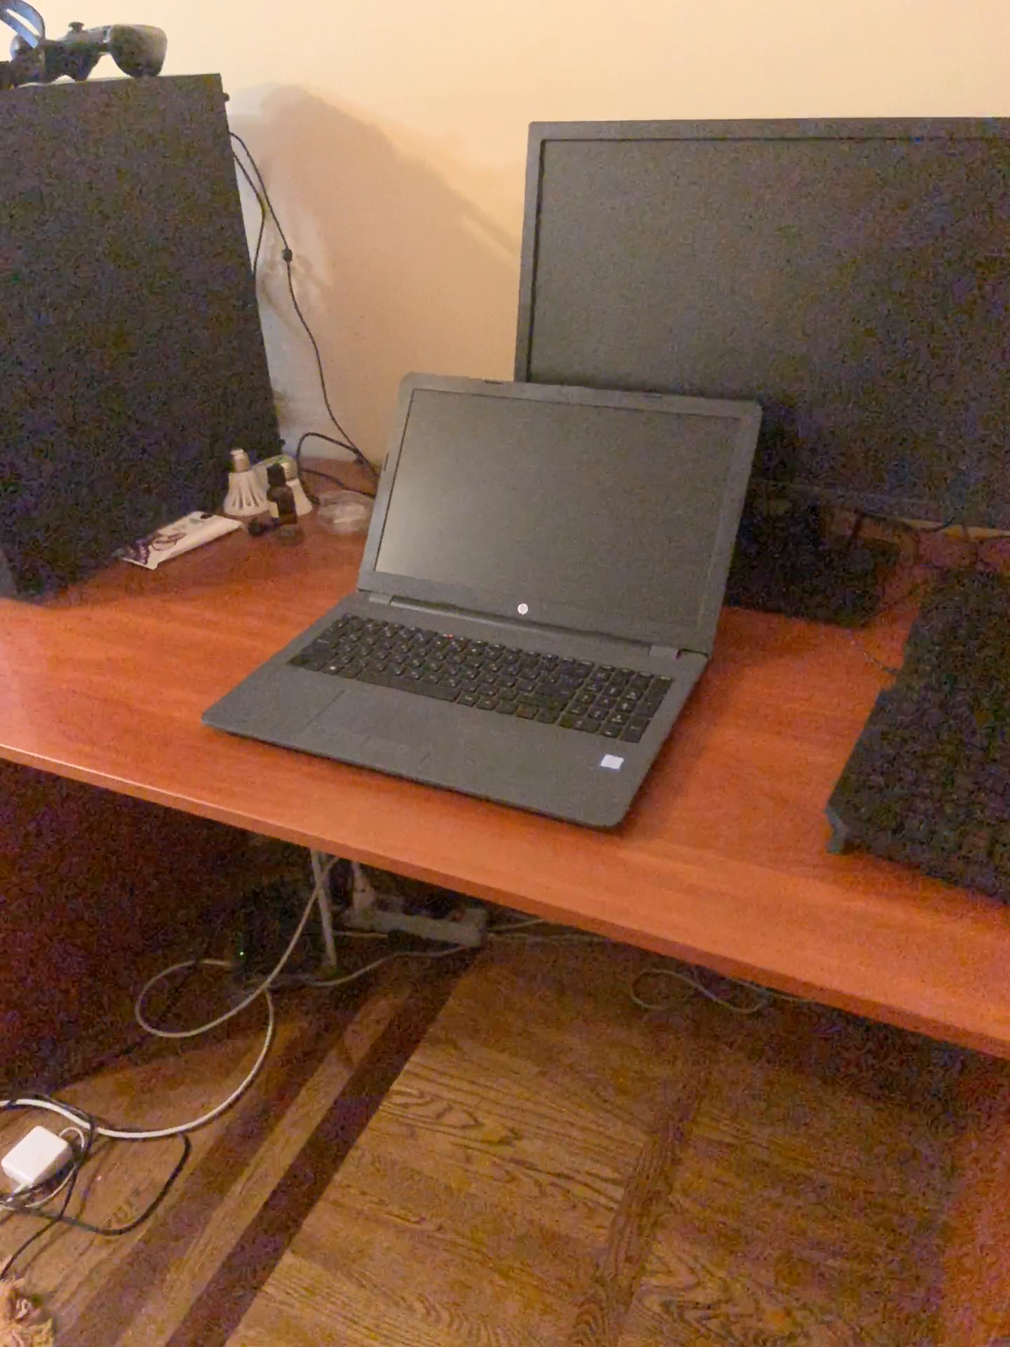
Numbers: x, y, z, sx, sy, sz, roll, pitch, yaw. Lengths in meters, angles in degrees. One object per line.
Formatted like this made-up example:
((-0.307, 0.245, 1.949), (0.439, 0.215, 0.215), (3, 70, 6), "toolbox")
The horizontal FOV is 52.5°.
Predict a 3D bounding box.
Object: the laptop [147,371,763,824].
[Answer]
((-0.013, -0.104, 0.894), (0.372, 0.188, 0.393), (11, 34, 22), "laptop")
